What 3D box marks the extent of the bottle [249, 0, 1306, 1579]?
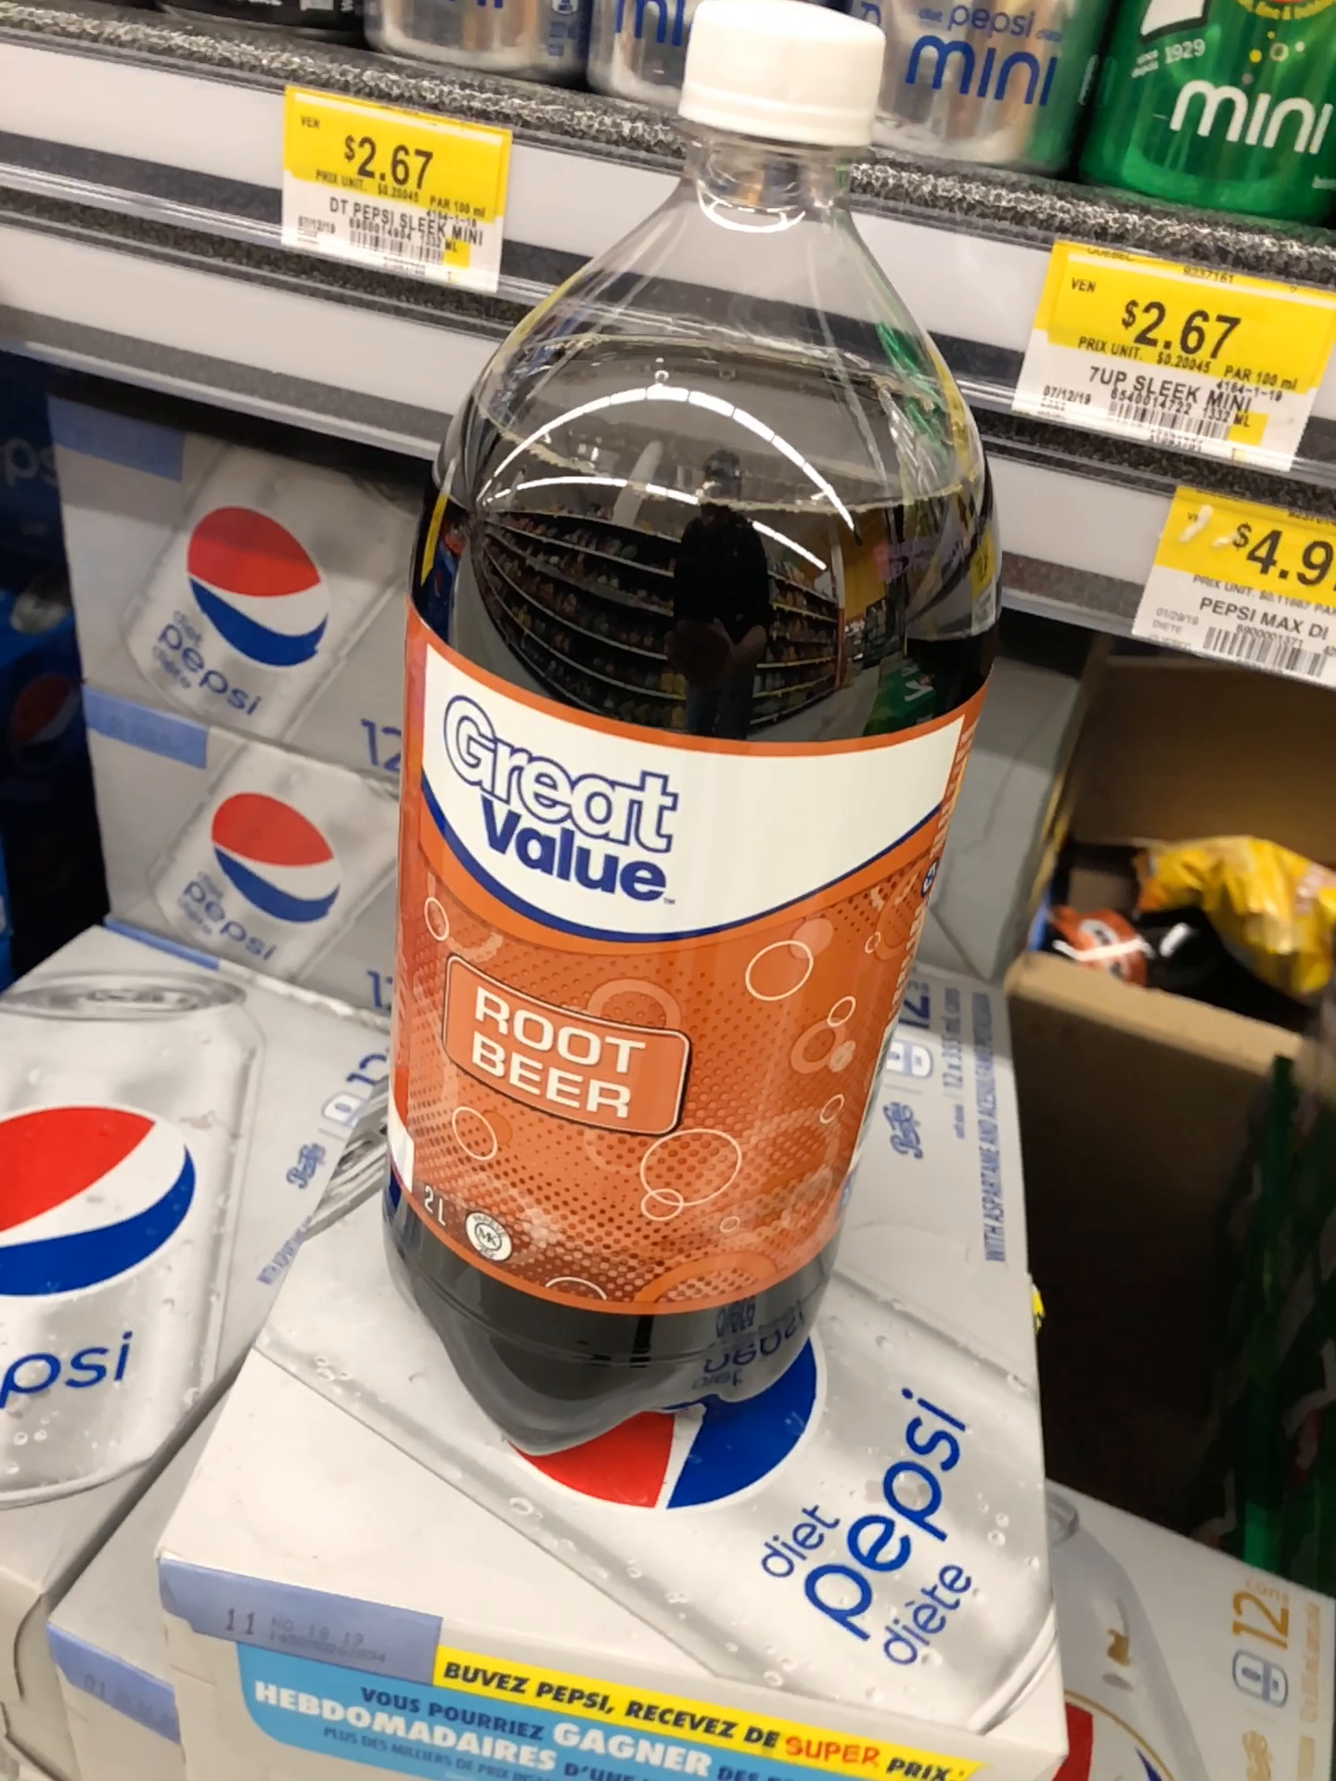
[{"bbox_3d":[0.011,-0.018,0.290,0.120,0.268,0.121,5,34,-4],"label":"bottle"}]
